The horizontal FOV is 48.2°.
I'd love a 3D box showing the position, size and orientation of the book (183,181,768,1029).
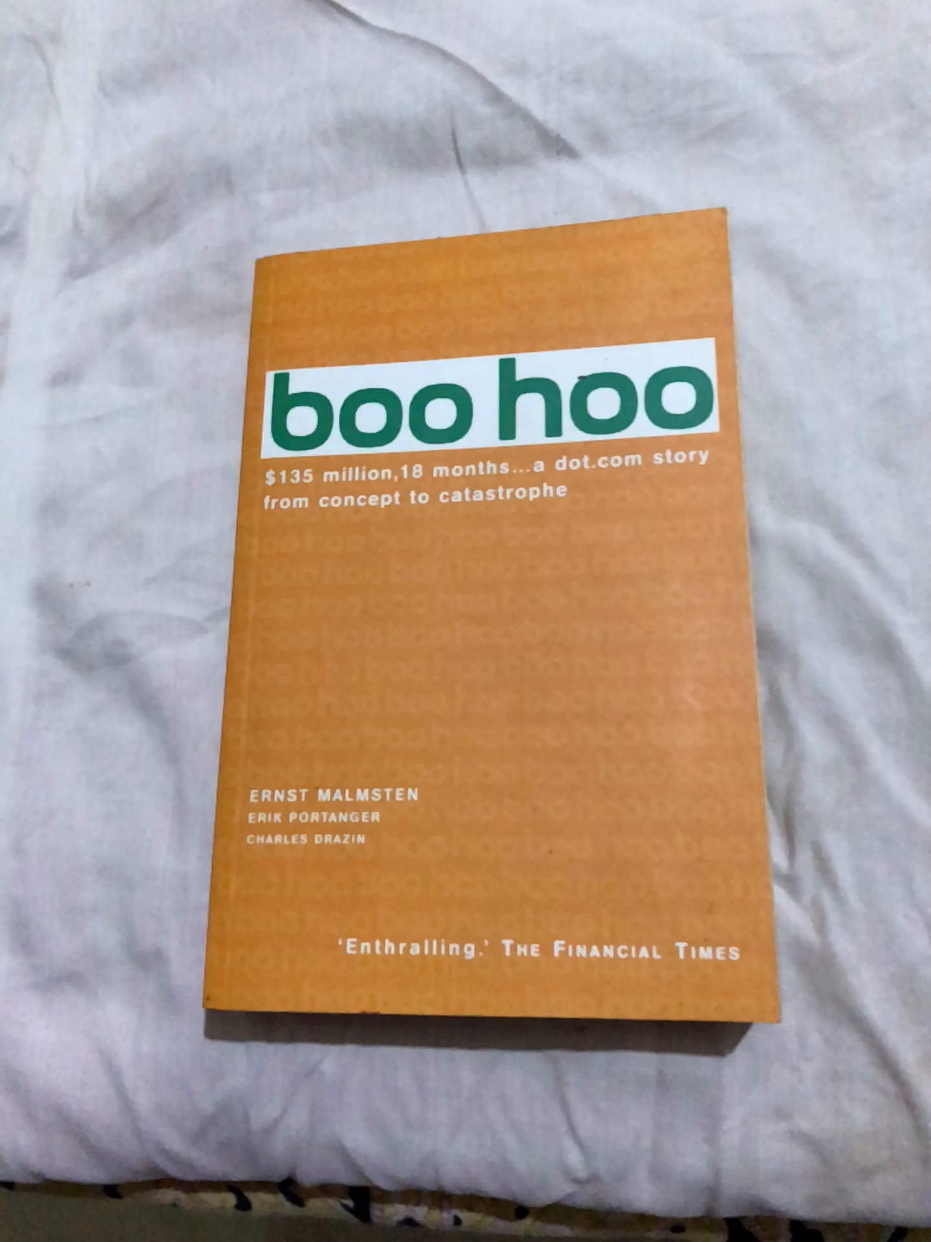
[{"bbox_3d":[0.003,-0.006,0.270,0.130,0.040,0.200,-3,75,12],"label":"book"}]
